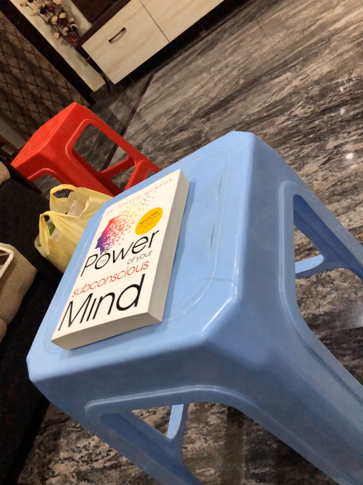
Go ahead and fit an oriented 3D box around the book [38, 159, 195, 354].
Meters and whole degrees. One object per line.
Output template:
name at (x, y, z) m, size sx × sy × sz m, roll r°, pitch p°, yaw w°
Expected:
book at (-0.063, 0.009, 0.433) m, size 0.140 × 0.030 × 0.200 m, roll -24°, pitch 36°, yaw 32°
